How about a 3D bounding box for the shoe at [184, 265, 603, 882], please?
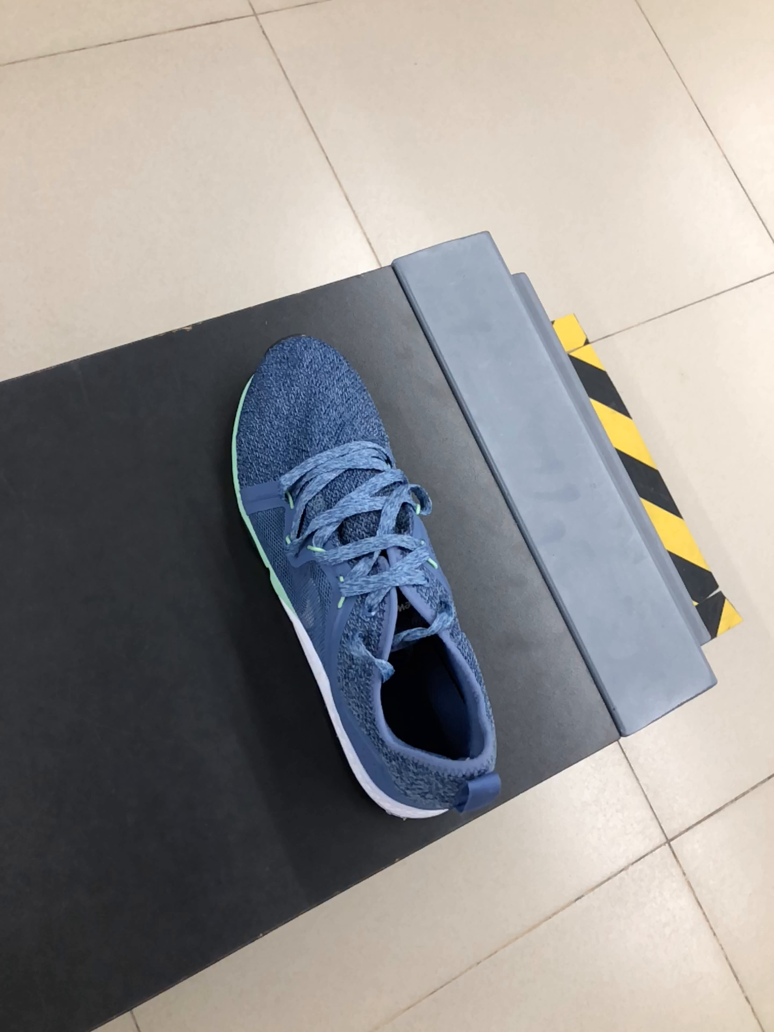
[{"bbox_3d":[-0.007,0.024,0.442,0.100,0.080,0.280,-20,81,-19],"label":"shoe"}]
